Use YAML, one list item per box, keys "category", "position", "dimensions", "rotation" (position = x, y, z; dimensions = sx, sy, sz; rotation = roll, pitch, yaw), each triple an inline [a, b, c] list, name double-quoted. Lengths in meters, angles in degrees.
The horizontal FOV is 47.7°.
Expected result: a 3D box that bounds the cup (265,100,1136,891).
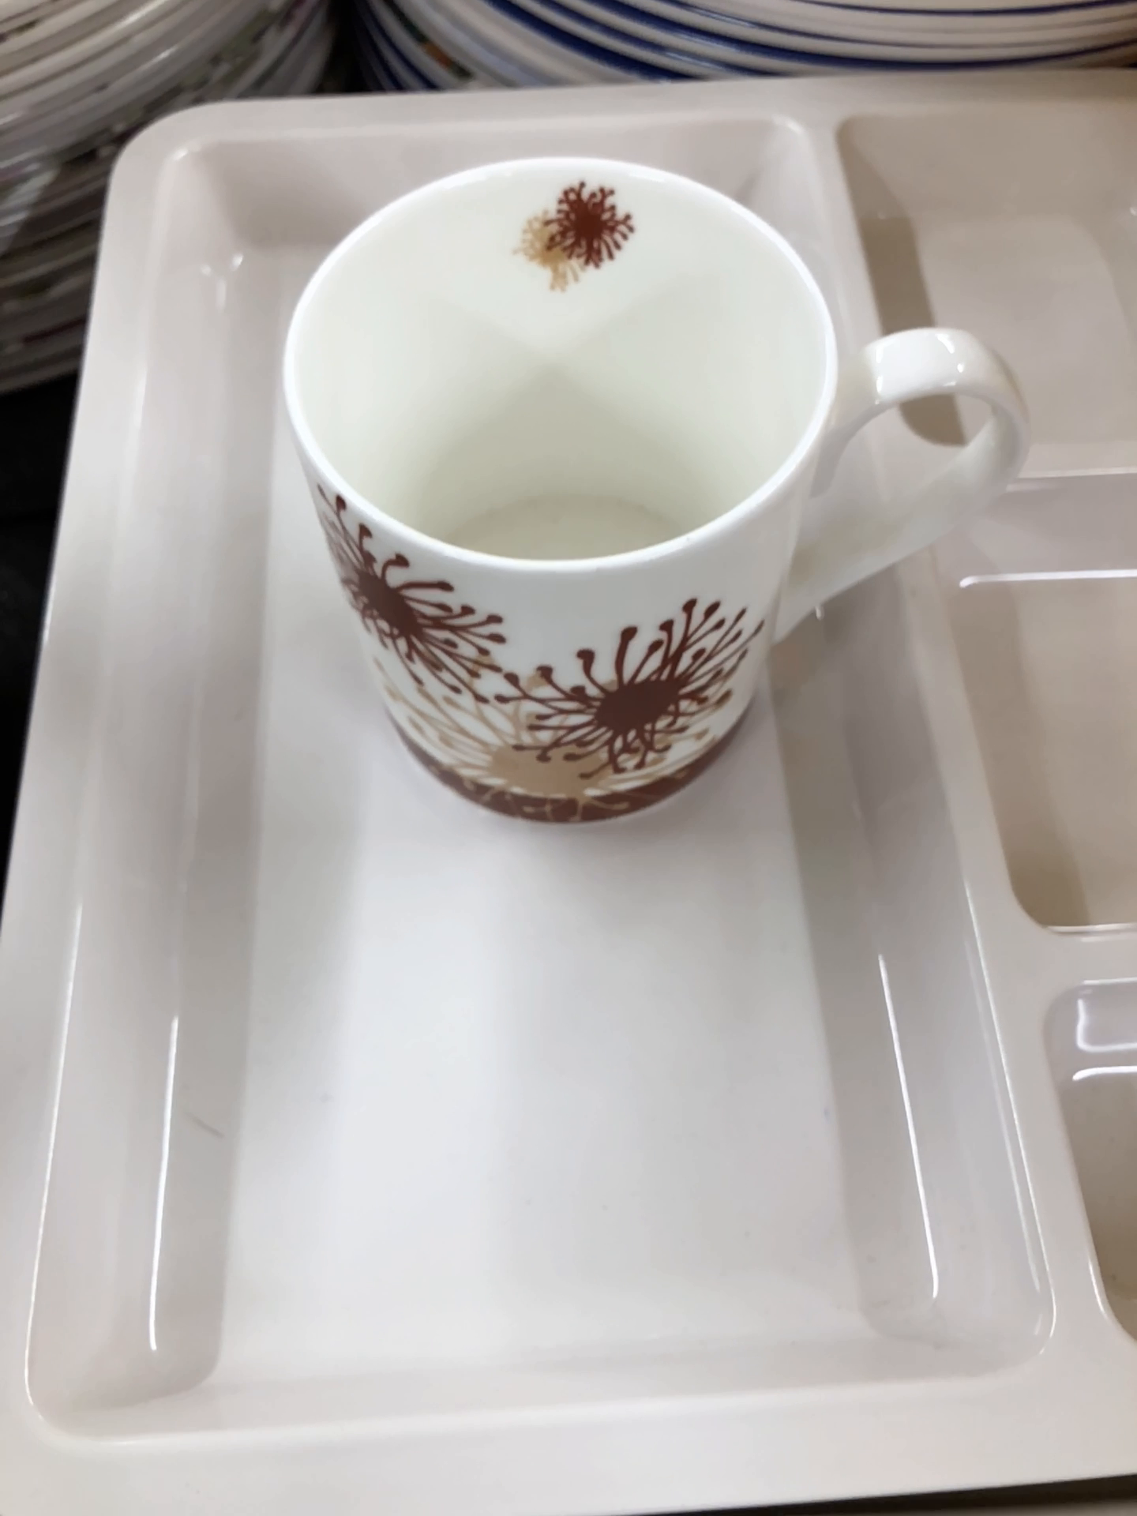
- category: "cup"
  position: [0.020, -0.039, 0.217]
  dimensions: [0.120, 0.090, 0.080]
  rotation: [-7, 63, -5]
